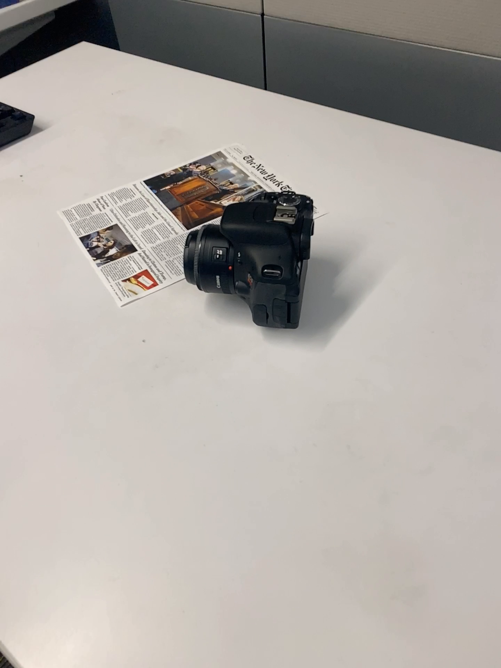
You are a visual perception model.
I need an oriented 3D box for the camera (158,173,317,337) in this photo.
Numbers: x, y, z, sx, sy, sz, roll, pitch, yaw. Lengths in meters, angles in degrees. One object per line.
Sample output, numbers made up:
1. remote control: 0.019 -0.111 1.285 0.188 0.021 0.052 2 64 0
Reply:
1. camera: -0.005 -0.074 0.469 0.114 0.090 0.109 7 50 10
